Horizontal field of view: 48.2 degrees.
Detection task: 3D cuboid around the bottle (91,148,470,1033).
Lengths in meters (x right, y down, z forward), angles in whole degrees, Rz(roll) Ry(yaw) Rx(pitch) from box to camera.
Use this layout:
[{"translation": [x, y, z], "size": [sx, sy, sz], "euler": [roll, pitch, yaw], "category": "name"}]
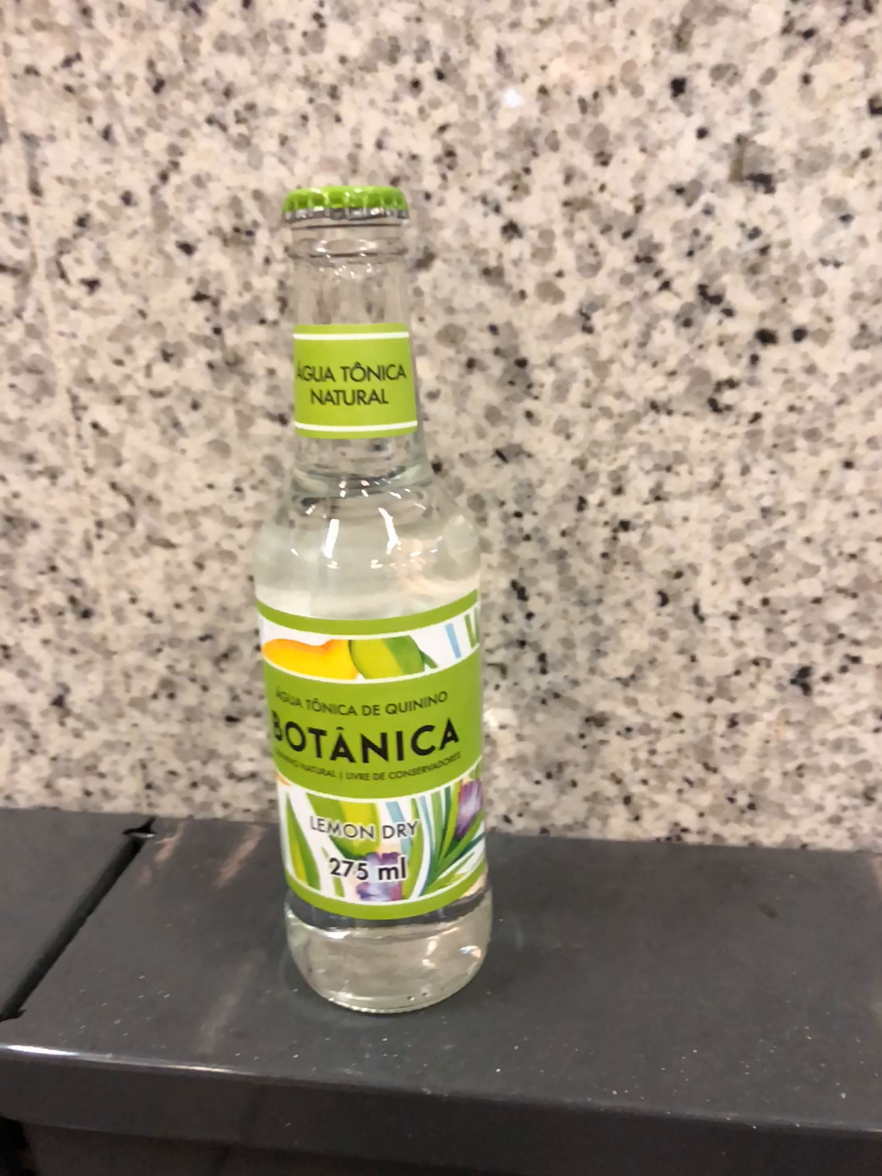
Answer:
[{"translation": [-0.028, 0.007, 0.246], "size": [0.060, 0.209, 0.060], "euler": [-3, 21, 1], "category": "bottle"}]
